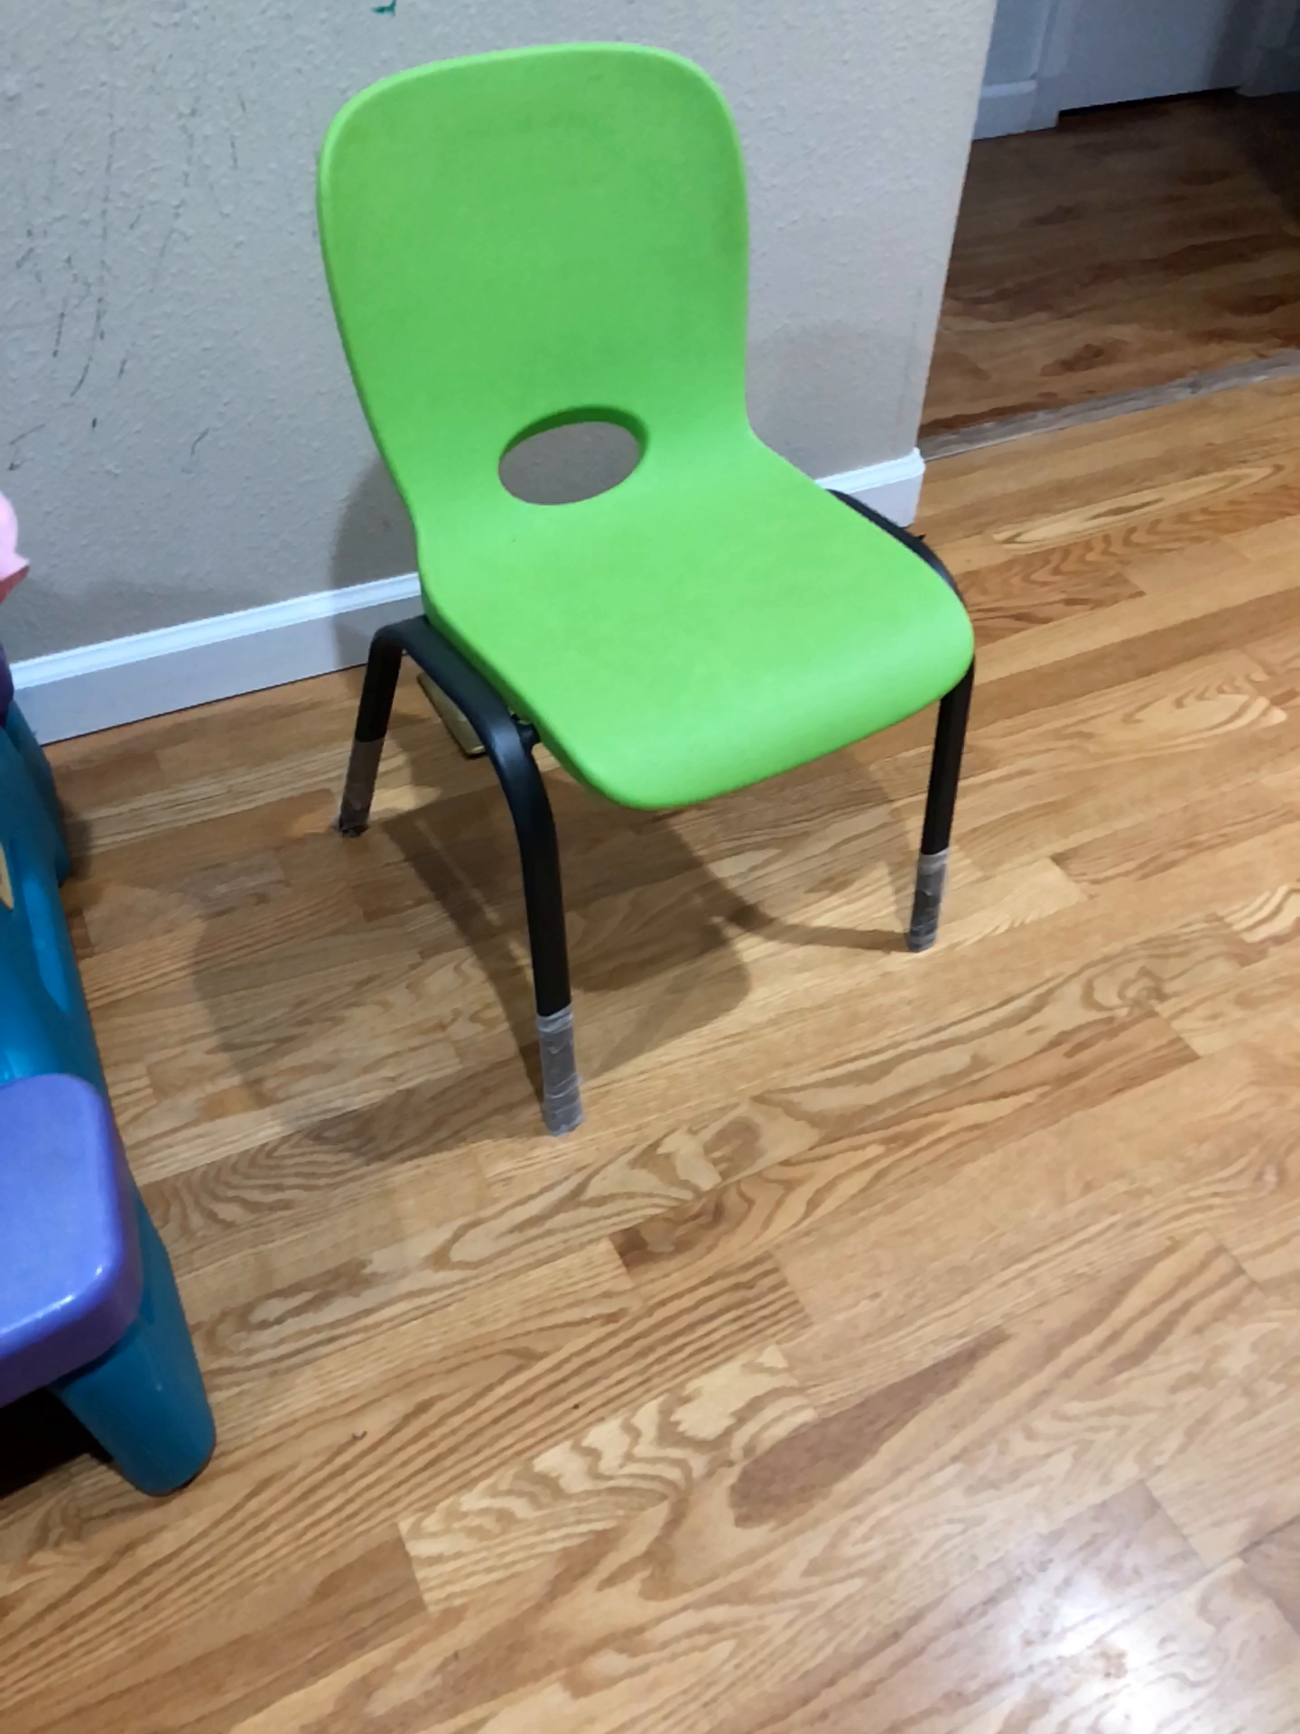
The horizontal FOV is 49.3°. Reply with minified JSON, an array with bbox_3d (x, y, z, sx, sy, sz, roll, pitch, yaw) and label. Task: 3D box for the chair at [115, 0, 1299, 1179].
[{"bbox_3d":[0.015,-0.227,0.990,0.511,0.557,0.482,-22,50,-23],"label":"chair"}]
